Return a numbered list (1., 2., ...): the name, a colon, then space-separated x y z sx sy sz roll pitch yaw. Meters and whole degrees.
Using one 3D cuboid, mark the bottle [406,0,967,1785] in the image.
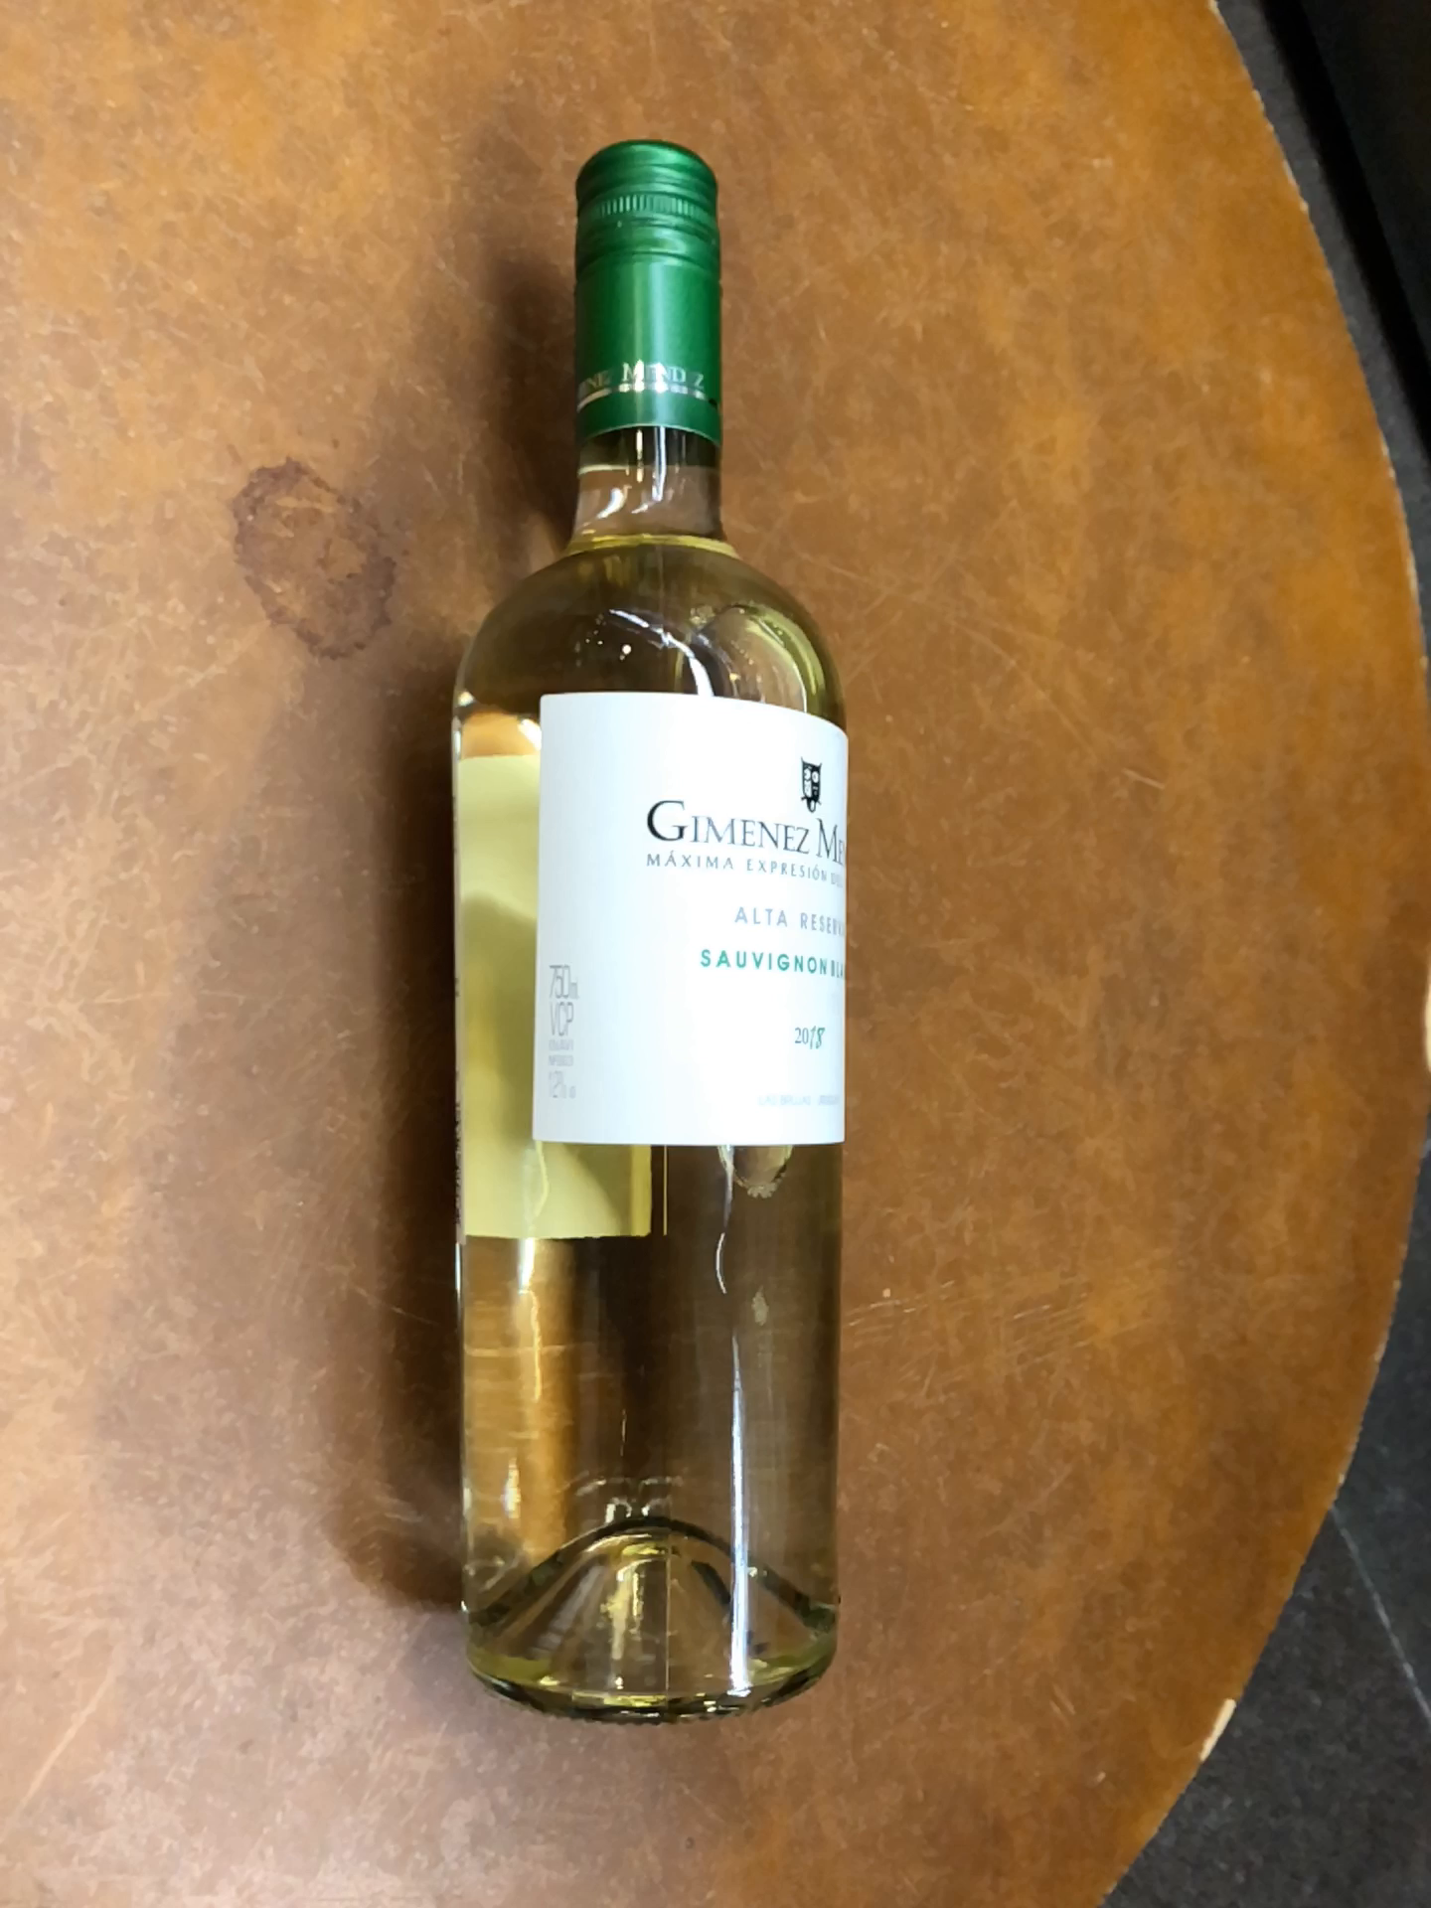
1. bottle: -0.006 -0.018 0.305 0.091 0.050 0.300 3 83 -36
